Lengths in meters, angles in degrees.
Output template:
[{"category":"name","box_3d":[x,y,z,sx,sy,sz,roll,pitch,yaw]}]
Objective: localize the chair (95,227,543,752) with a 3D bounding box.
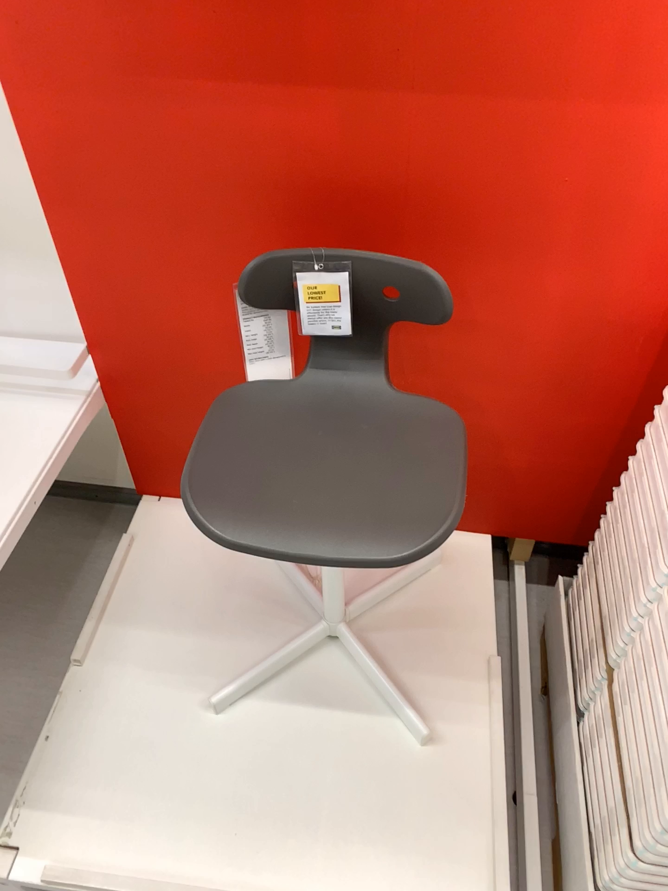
[{"category":"chair","box_3d":[0.012,0.095,1.092,0.460,0.697,0.452,5,45,6]}]
